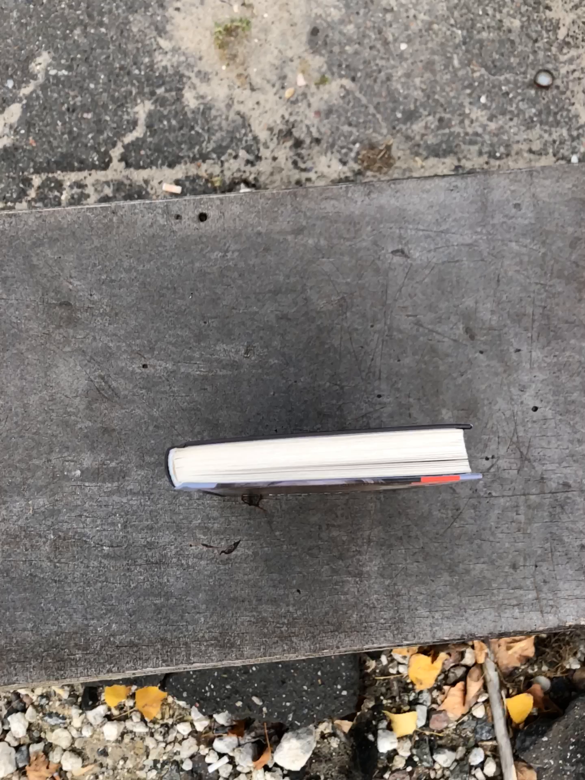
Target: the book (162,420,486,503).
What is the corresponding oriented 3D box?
[{"bbox_3d":[0.014,0.049,0.385,0.140,0.213,0.030,-1,79,0],"label":"book"}]
